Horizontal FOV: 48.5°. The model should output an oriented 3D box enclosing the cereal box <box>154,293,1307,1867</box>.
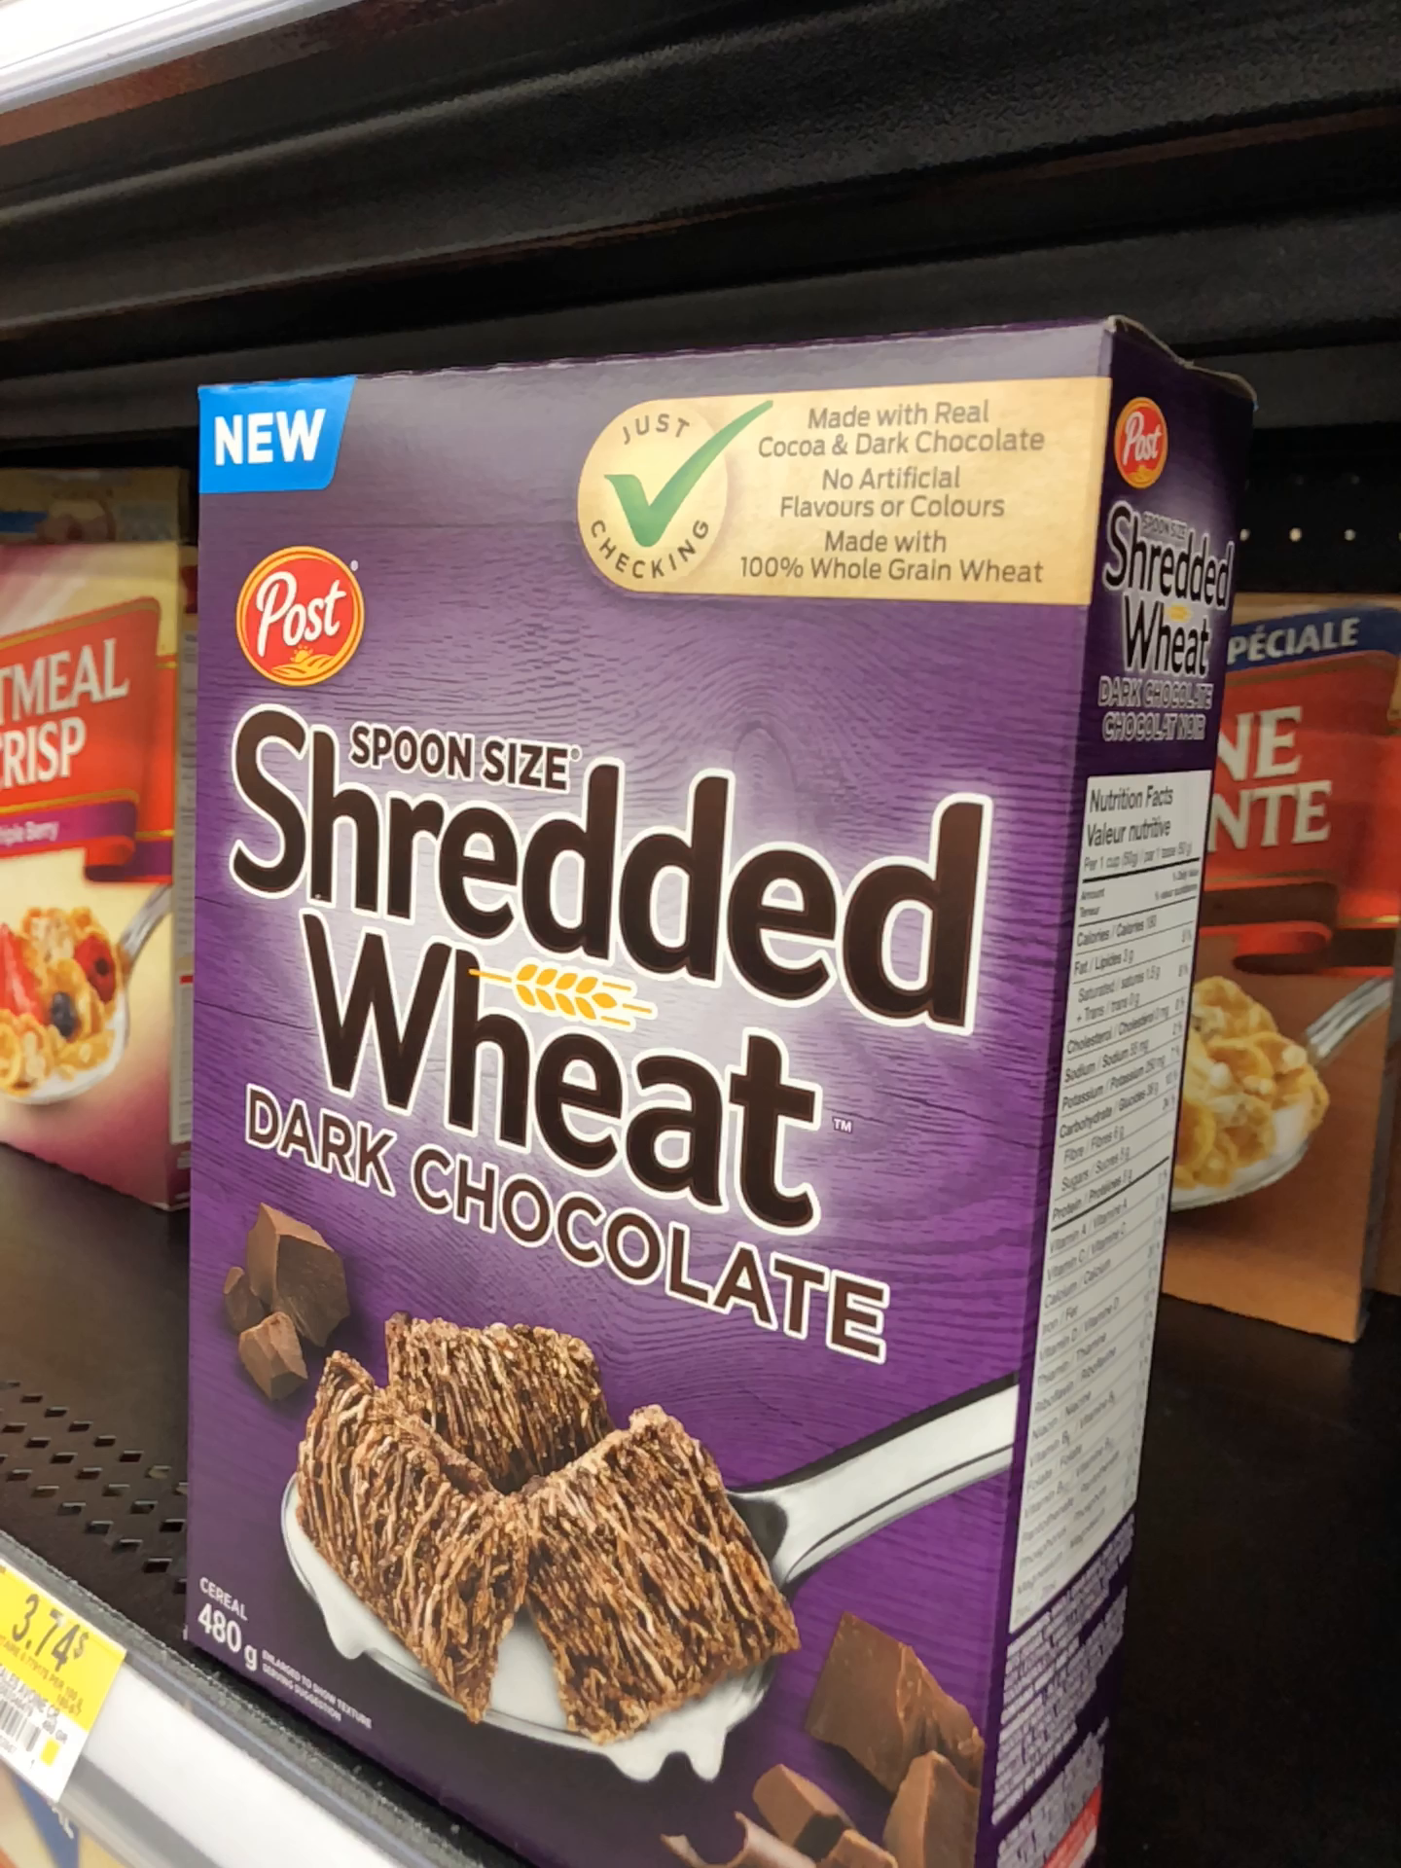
[{"bbox_3d":[-0.013,0.038,0.289,0.200,0.269,0.060,9,12,35],"label":"cereal box"}]
